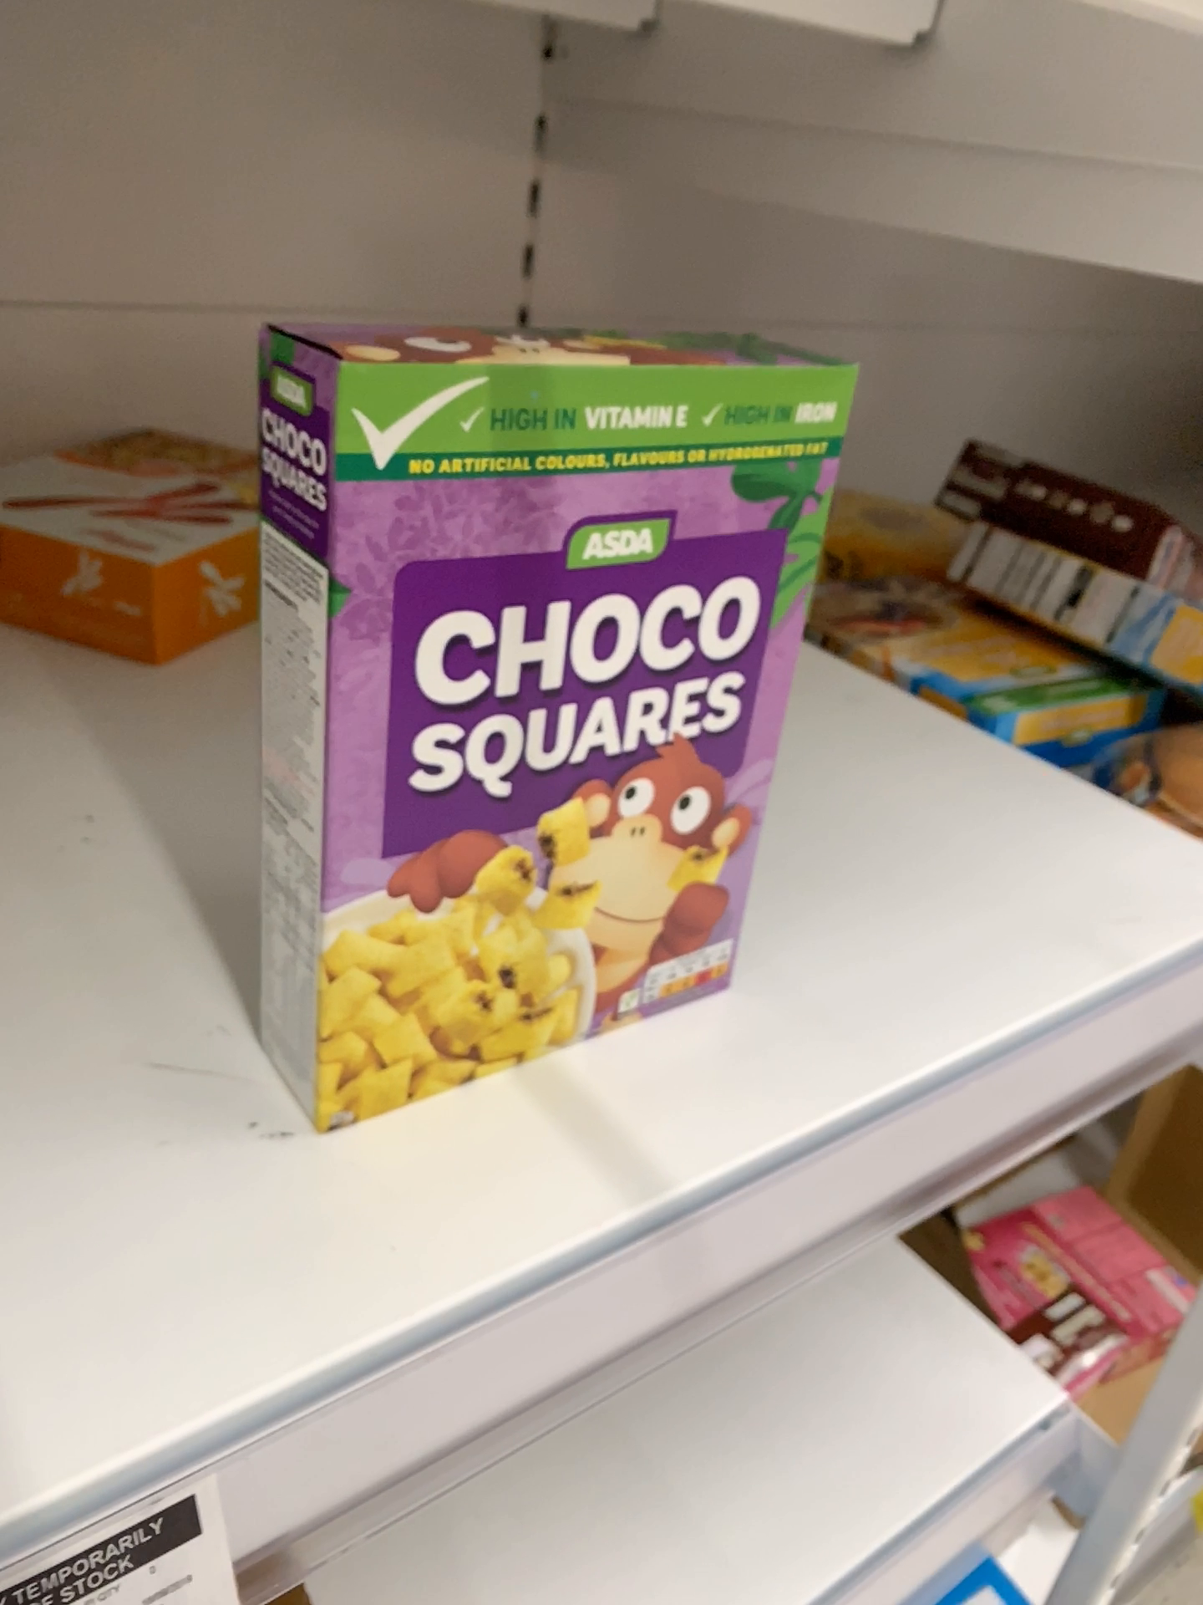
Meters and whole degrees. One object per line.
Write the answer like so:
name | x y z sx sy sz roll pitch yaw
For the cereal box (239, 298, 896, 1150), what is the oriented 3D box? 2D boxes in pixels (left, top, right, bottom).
cereal box | -0.017 -0.028 0.421 0.191 0.248 0.060 -13 34 -34
